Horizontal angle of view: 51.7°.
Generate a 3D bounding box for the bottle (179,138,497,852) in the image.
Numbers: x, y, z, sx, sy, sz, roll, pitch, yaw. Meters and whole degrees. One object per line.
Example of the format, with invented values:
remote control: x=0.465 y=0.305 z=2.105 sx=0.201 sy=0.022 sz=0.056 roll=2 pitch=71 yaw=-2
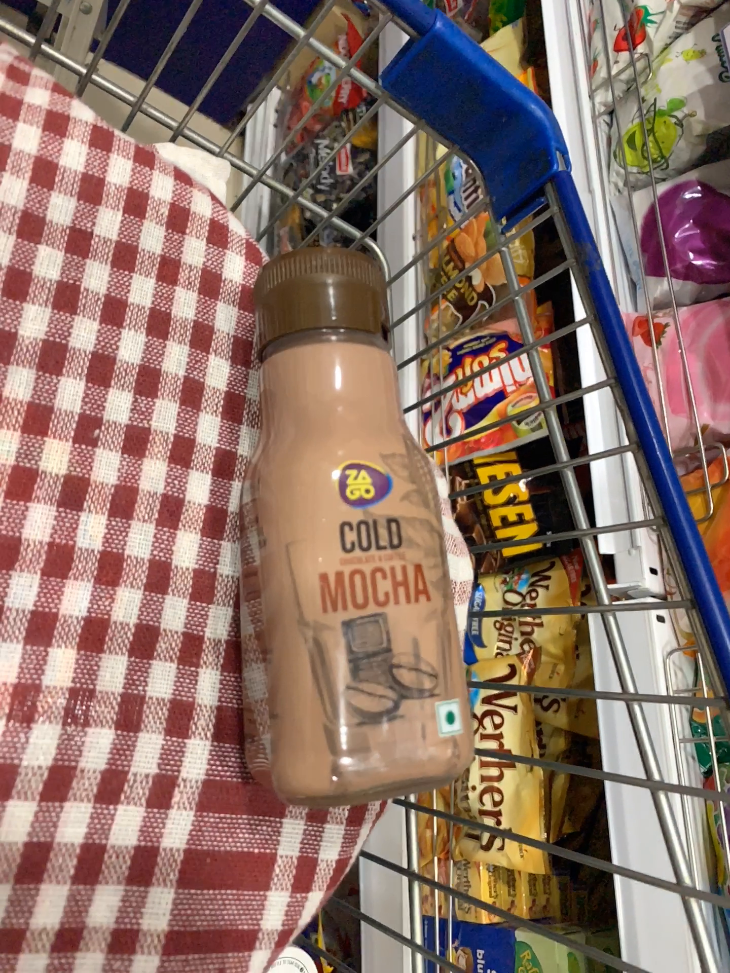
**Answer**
bottle: x=-0.015 y=0.002 z=0.219 sx=0.060 sy=0.070 sz=0.170 roll=0 pitch=78 yaw=-23
